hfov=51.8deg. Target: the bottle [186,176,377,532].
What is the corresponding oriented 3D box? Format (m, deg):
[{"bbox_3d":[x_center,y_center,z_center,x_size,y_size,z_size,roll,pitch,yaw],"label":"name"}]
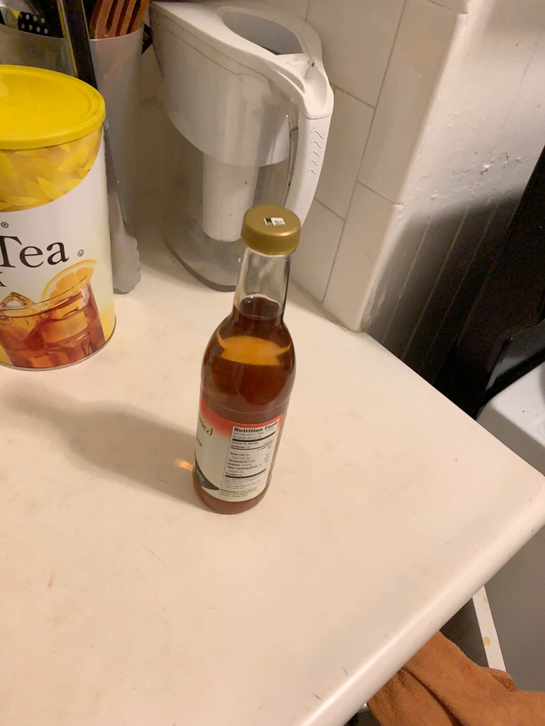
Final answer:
[{"bbox_3d":[-0.011,0.012,0.358,0.070,0.239,0.070,6,44,-6],"label":"bottle"}]
